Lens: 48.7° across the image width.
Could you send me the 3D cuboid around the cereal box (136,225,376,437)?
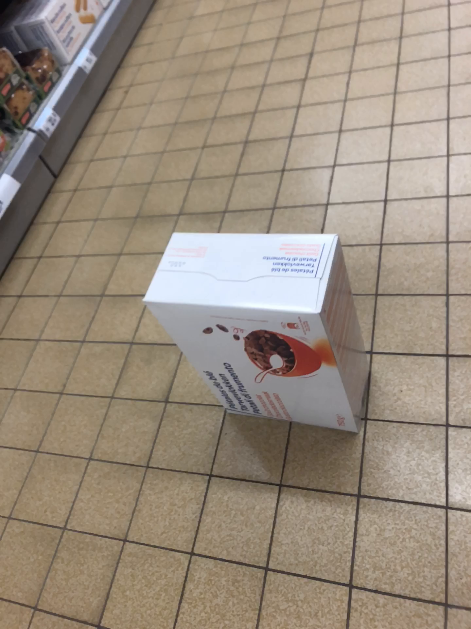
[{"bbox_3d":[0.047,0.033,0.628,0.200,0.289,0.101,2,57,23],"label":"cereal box"}]
